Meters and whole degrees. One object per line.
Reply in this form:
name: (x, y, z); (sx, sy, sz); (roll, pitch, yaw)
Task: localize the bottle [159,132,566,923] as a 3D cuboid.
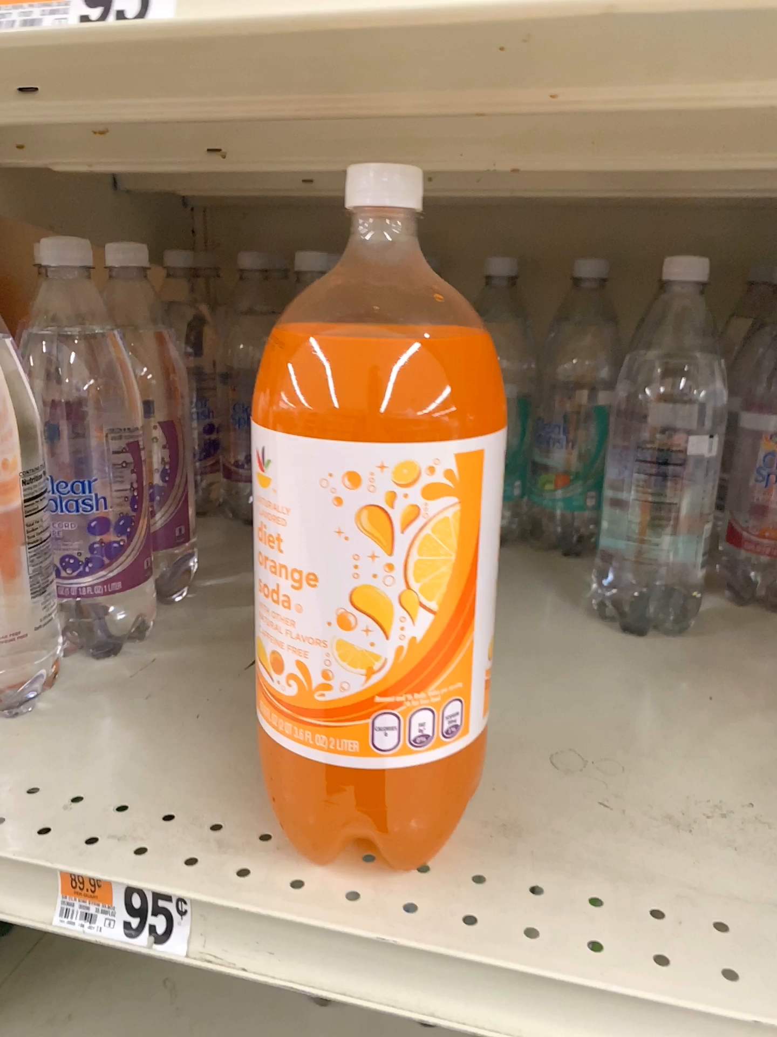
bottle: (-0.006, 0.001, 0.349); (0.120, 0.289, 0.110); (1, 17, 0)
